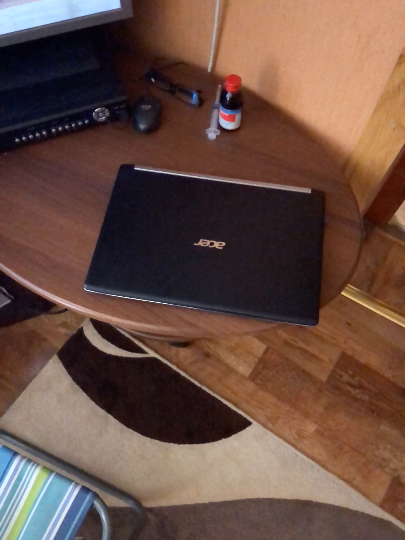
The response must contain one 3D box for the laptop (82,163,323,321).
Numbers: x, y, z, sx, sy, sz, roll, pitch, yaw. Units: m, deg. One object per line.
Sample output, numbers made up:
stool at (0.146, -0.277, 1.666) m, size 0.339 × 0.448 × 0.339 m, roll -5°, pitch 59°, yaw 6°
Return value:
laptop at (0.012, -0.056, 0.742) m, size 0.363 × 0.004 × 0.240 m, roll 9°, pitch 65°, yaw 3°
